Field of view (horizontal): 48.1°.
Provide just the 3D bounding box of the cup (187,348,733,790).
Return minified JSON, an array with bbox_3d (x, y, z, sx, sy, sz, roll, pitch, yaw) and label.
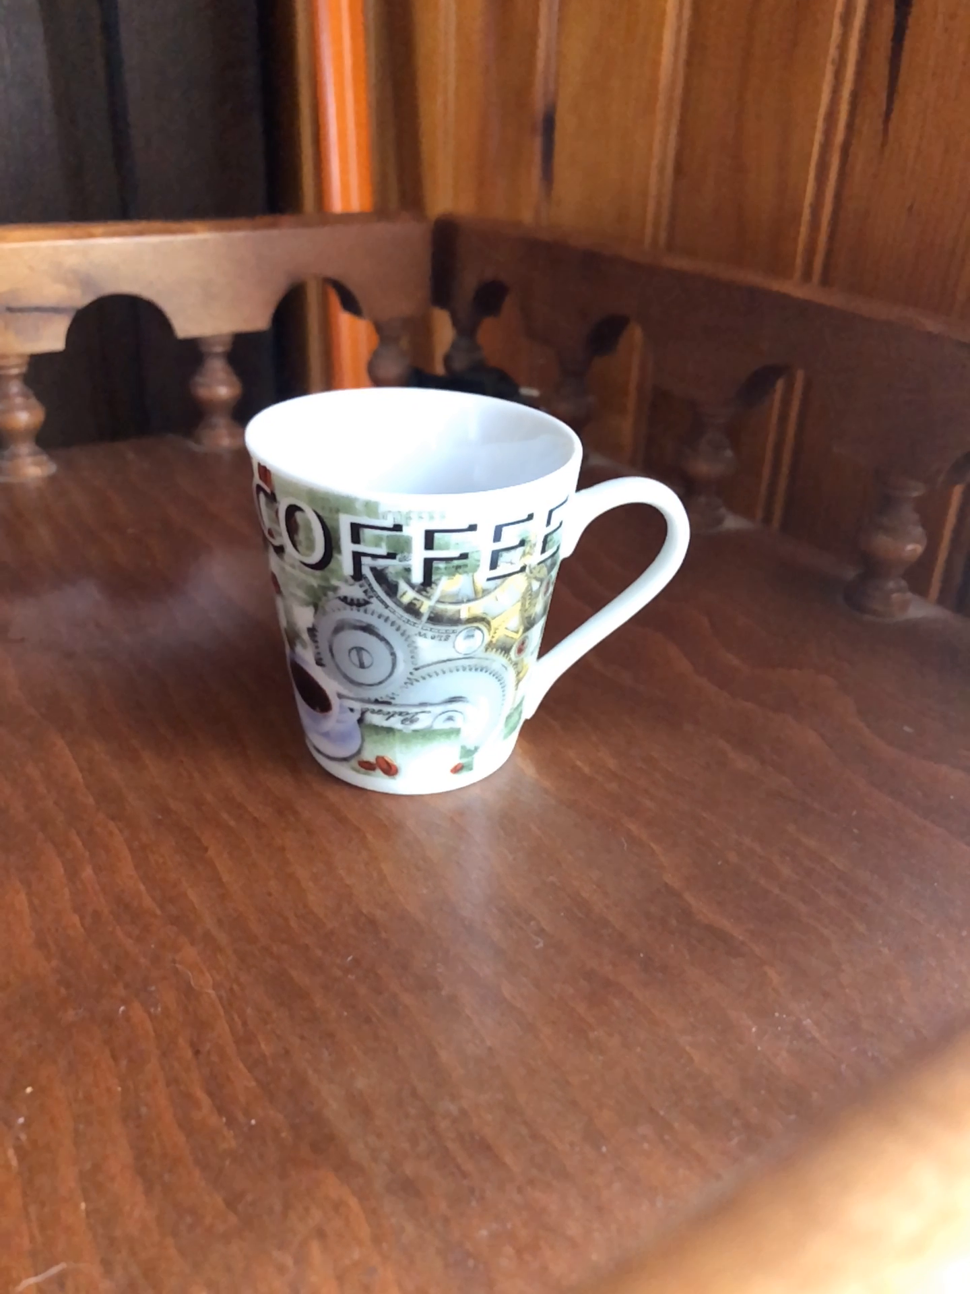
[{"bbox_3d":[-0.006,-0.017,0.199,0.080,0.060,0.060,-1,28,-5],"label":"cup"}]
